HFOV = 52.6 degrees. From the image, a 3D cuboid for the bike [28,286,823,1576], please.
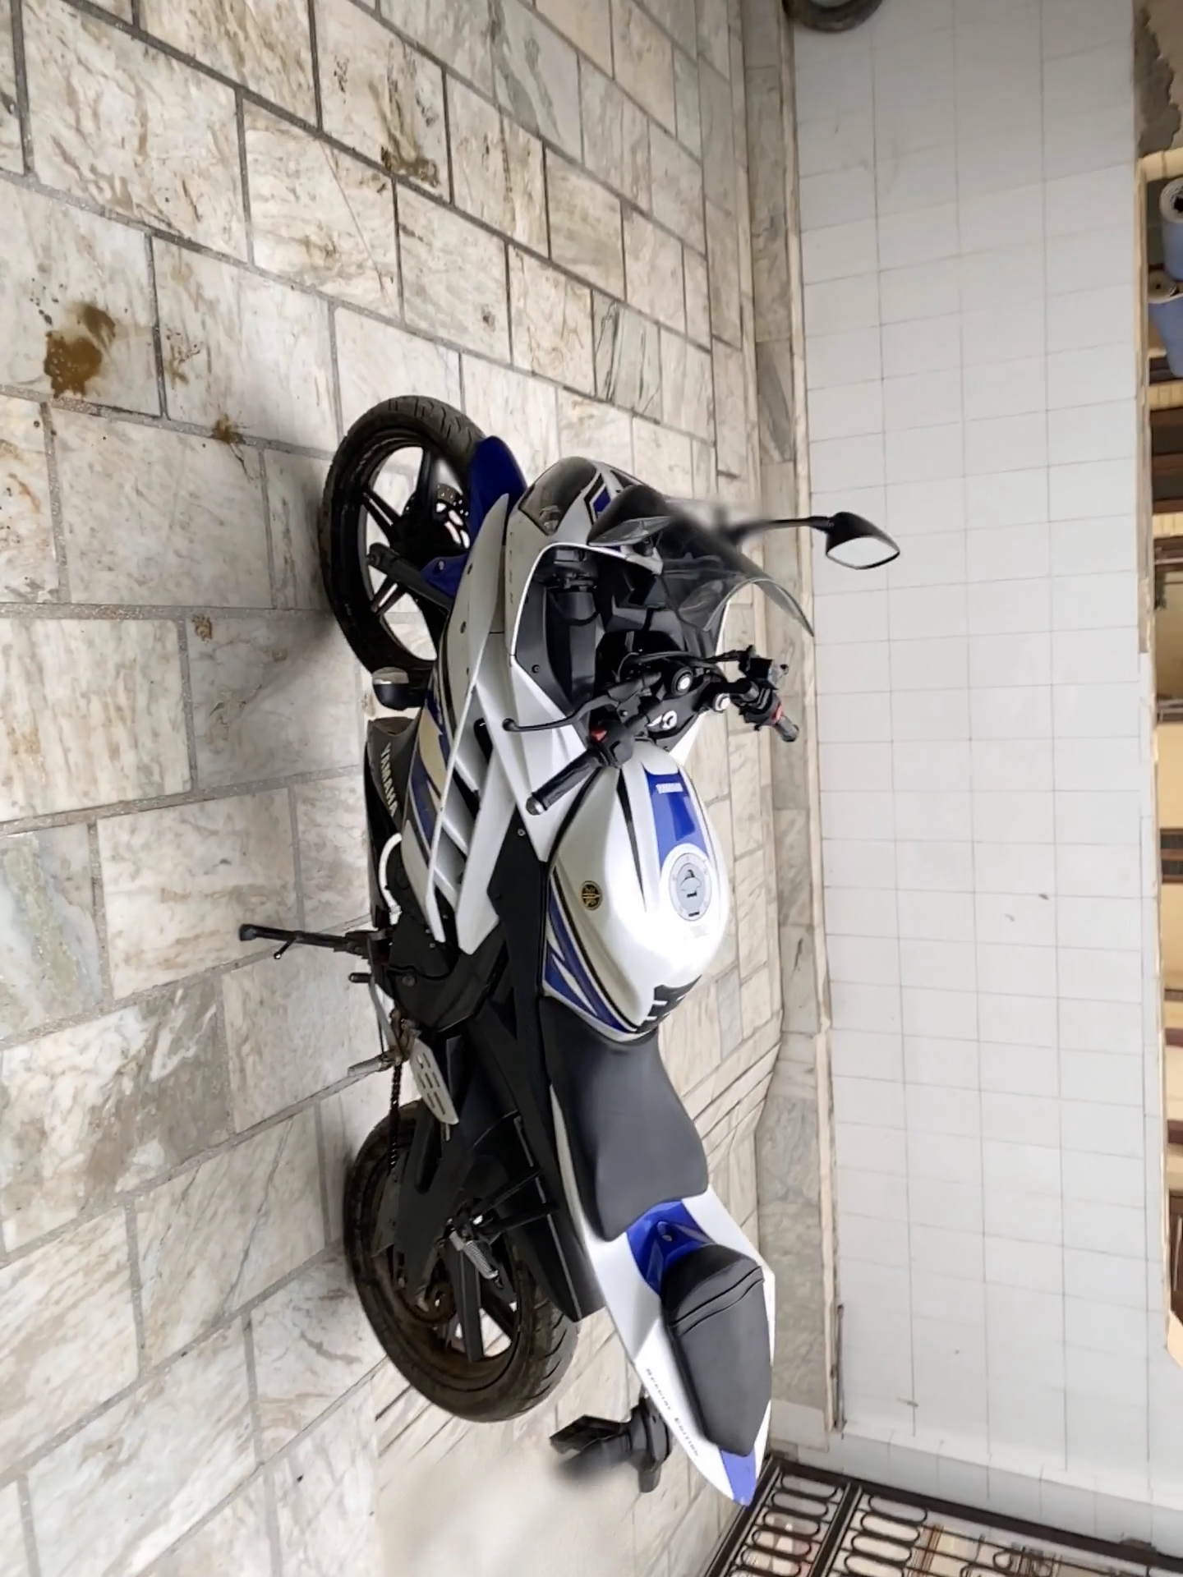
[{"bbox_3d":[-0.251,0.234,2.137,0.737,0.903,1.881,-9,93,-62],"label":"bike"}]
